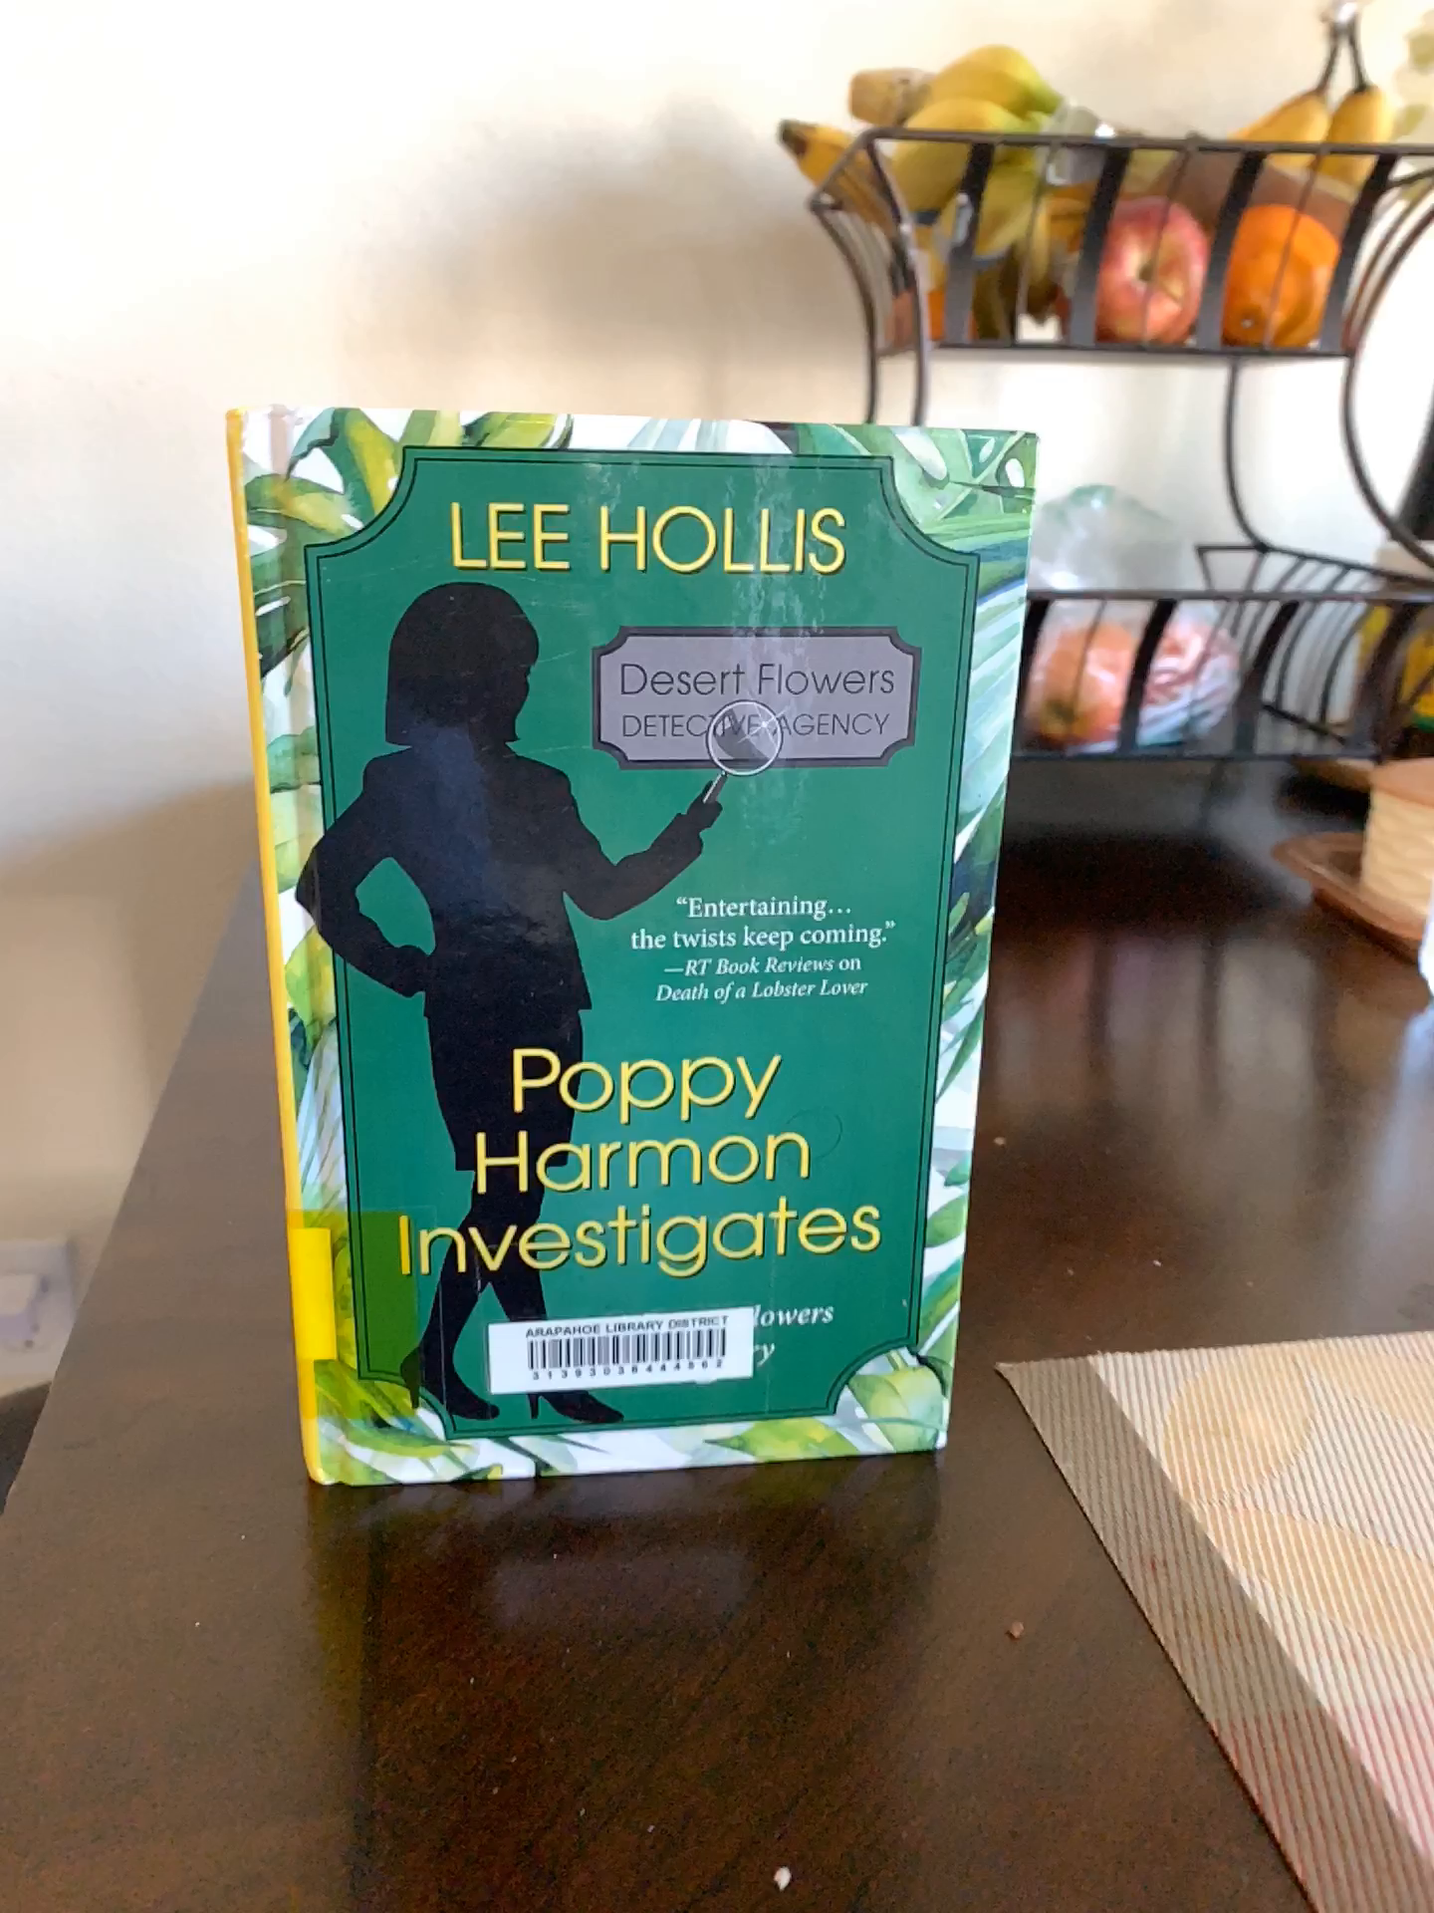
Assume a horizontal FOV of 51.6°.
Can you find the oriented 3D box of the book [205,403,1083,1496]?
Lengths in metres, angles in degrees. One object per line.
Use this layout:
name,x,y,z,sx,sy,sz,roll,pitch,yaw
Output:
book,-0.014,0.003,0.312,0.153,0.220,0.040,-2,19,-7
